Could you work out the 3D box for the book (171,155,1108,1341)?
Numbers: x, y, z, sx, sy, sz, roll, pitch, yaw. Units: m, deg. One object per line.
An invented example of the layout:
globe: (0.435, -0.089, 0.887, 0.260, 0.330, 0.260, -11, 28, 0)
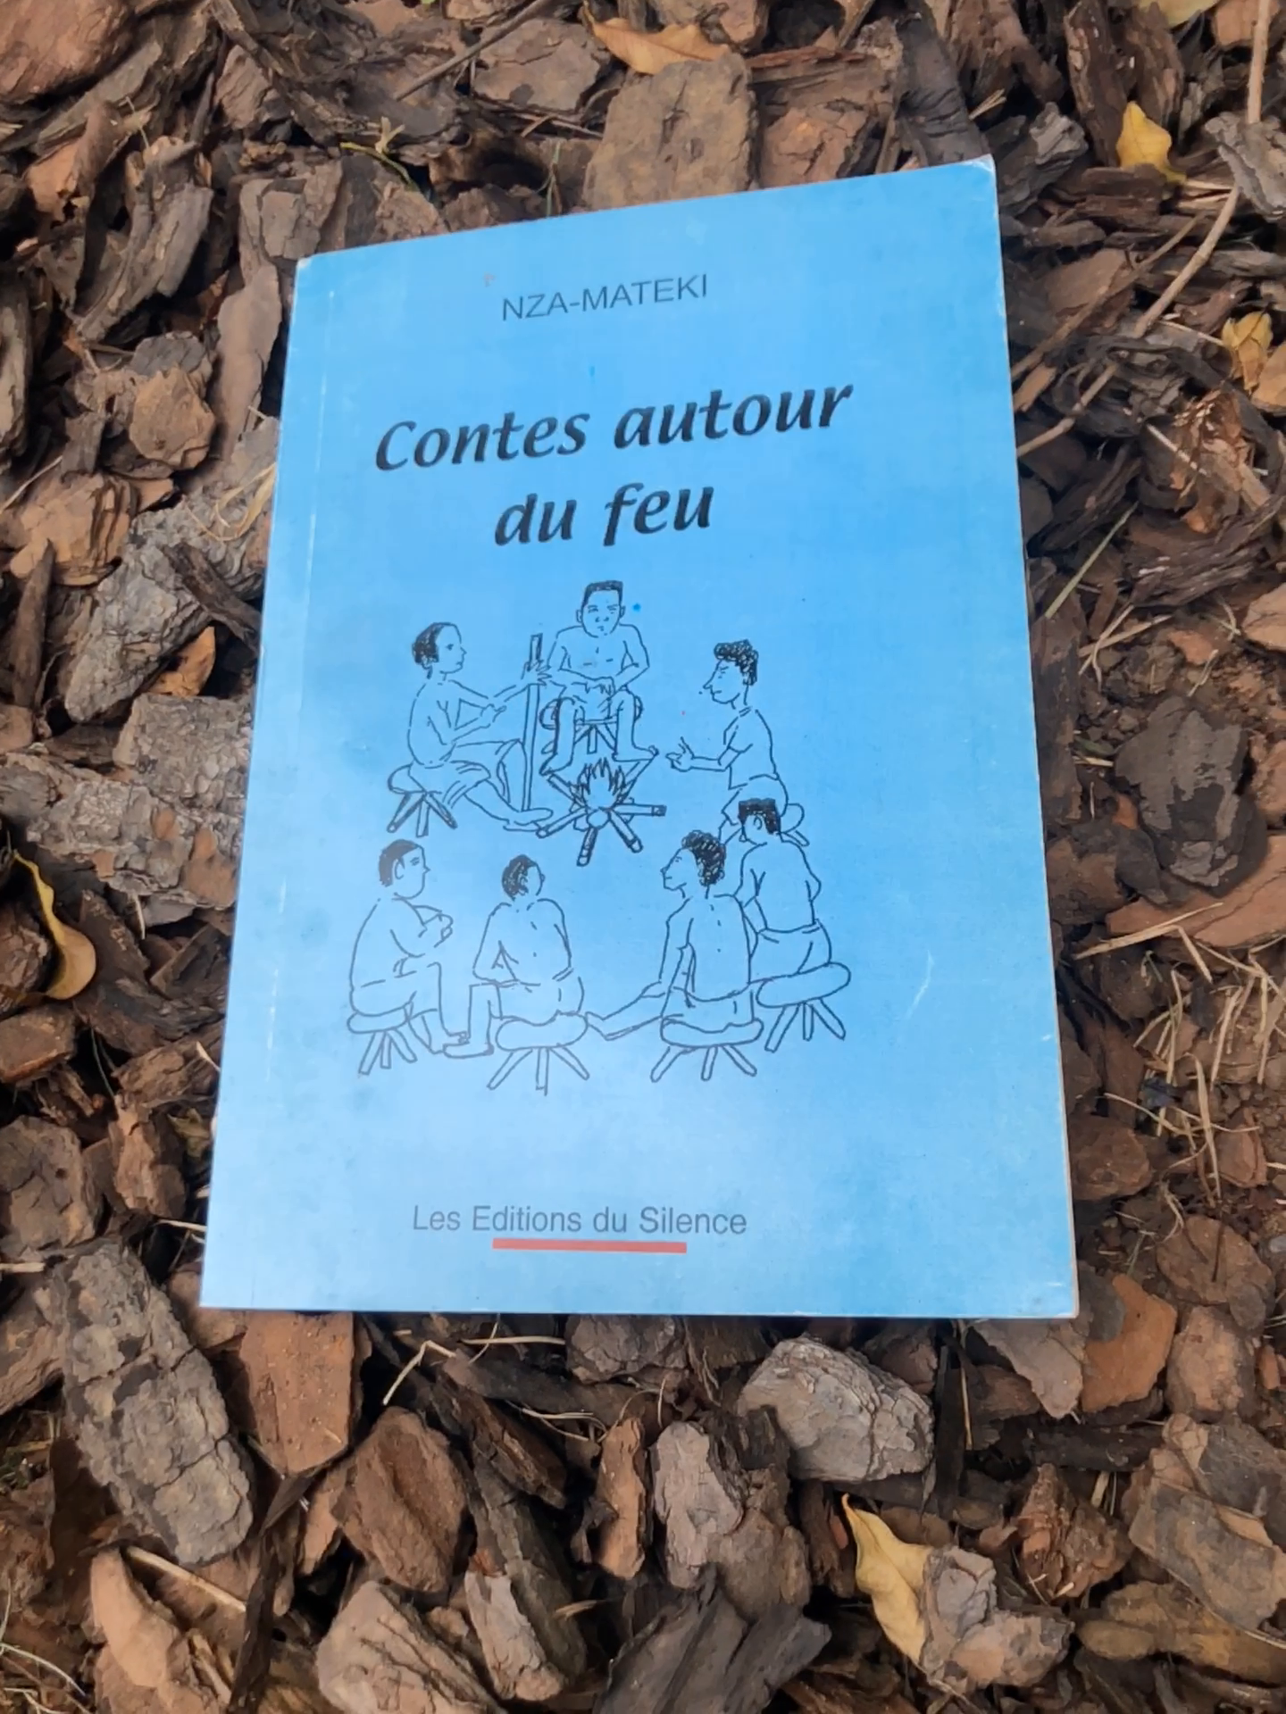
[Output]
book: (-0.002, -0.024, 0.251, 0.144, 0.015, 0.202, -3, 73, 12)
